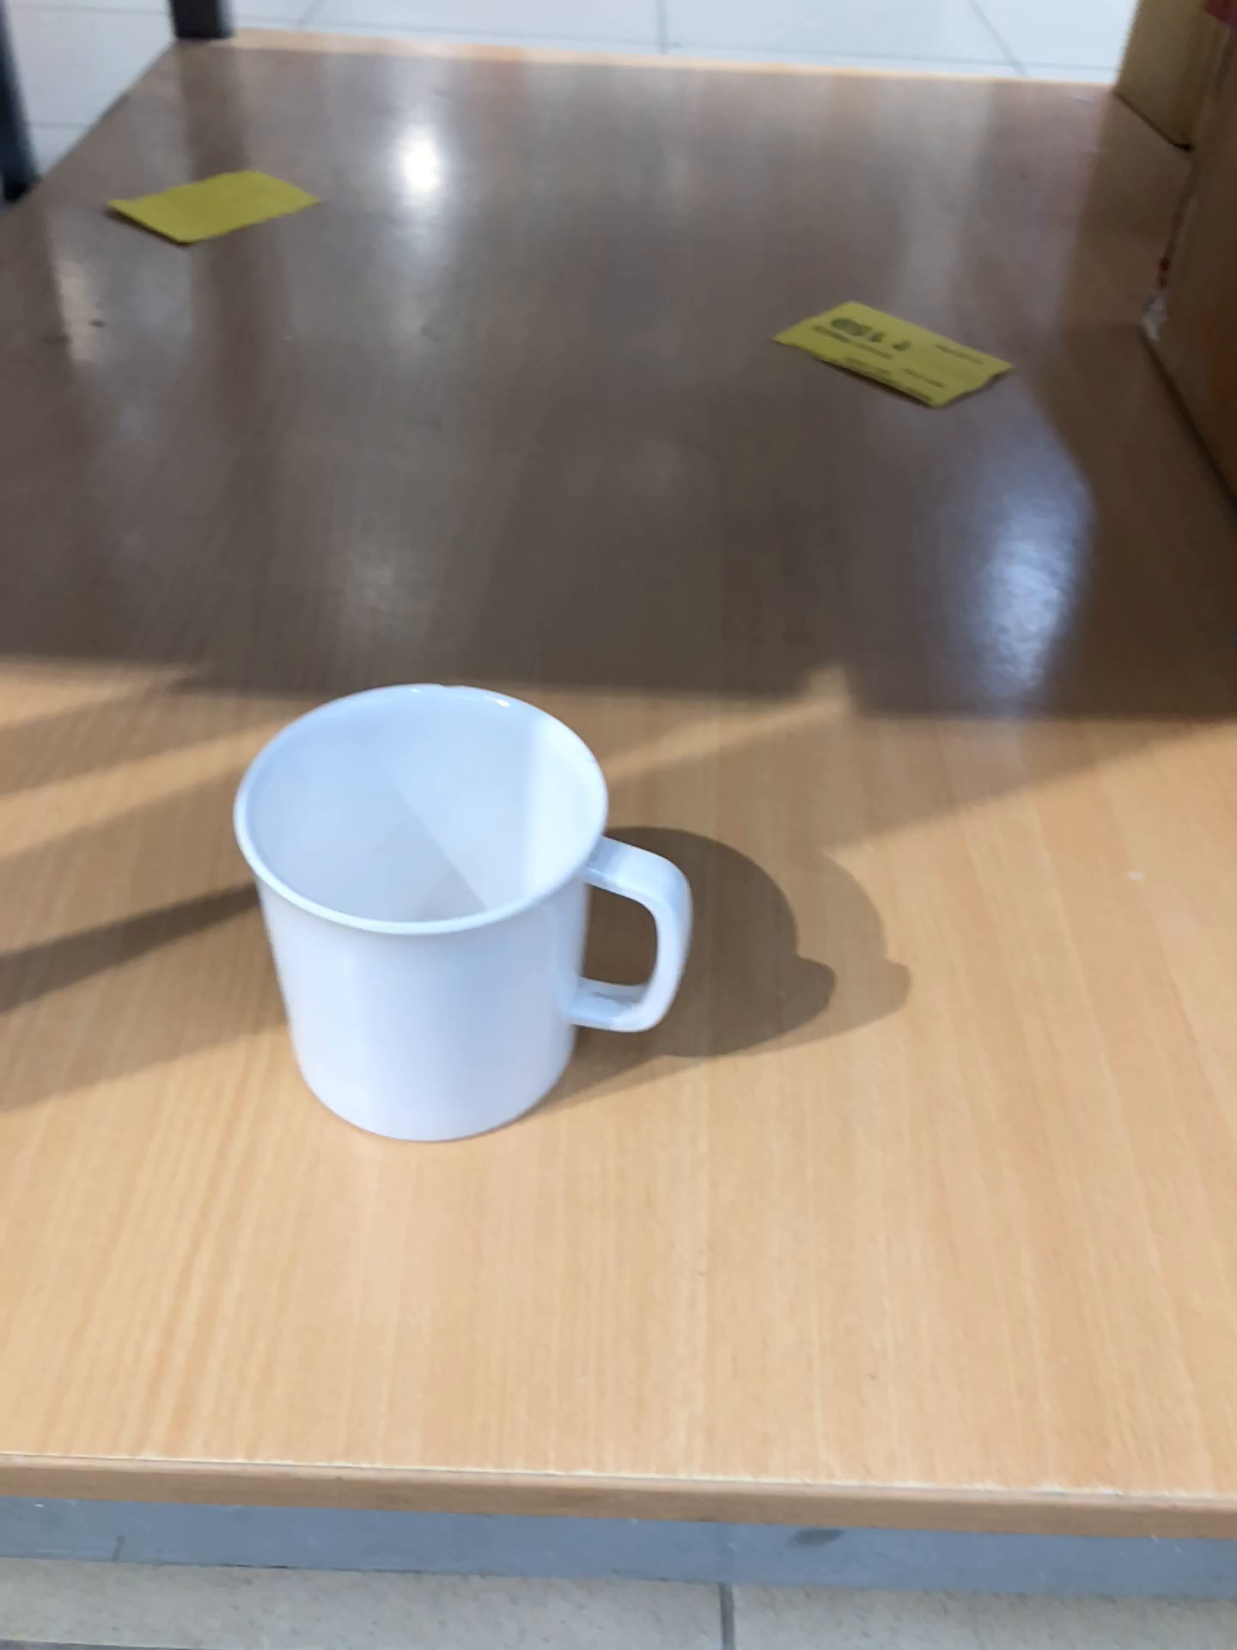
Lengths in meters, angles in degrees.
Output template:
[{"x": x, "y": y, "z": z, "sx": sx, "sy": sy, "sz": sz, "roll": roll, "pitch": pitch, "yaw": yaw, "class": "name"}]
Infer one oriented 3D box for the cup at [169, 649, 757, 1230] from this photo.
[{"x": -0.033, "y": 0.026, "z": 0.339, "sx": 0.110, "sy": 0.089, "sz": 0.081, "roll": 13, "pitch": 43, "yaw": 10, "class": "cup"}]
